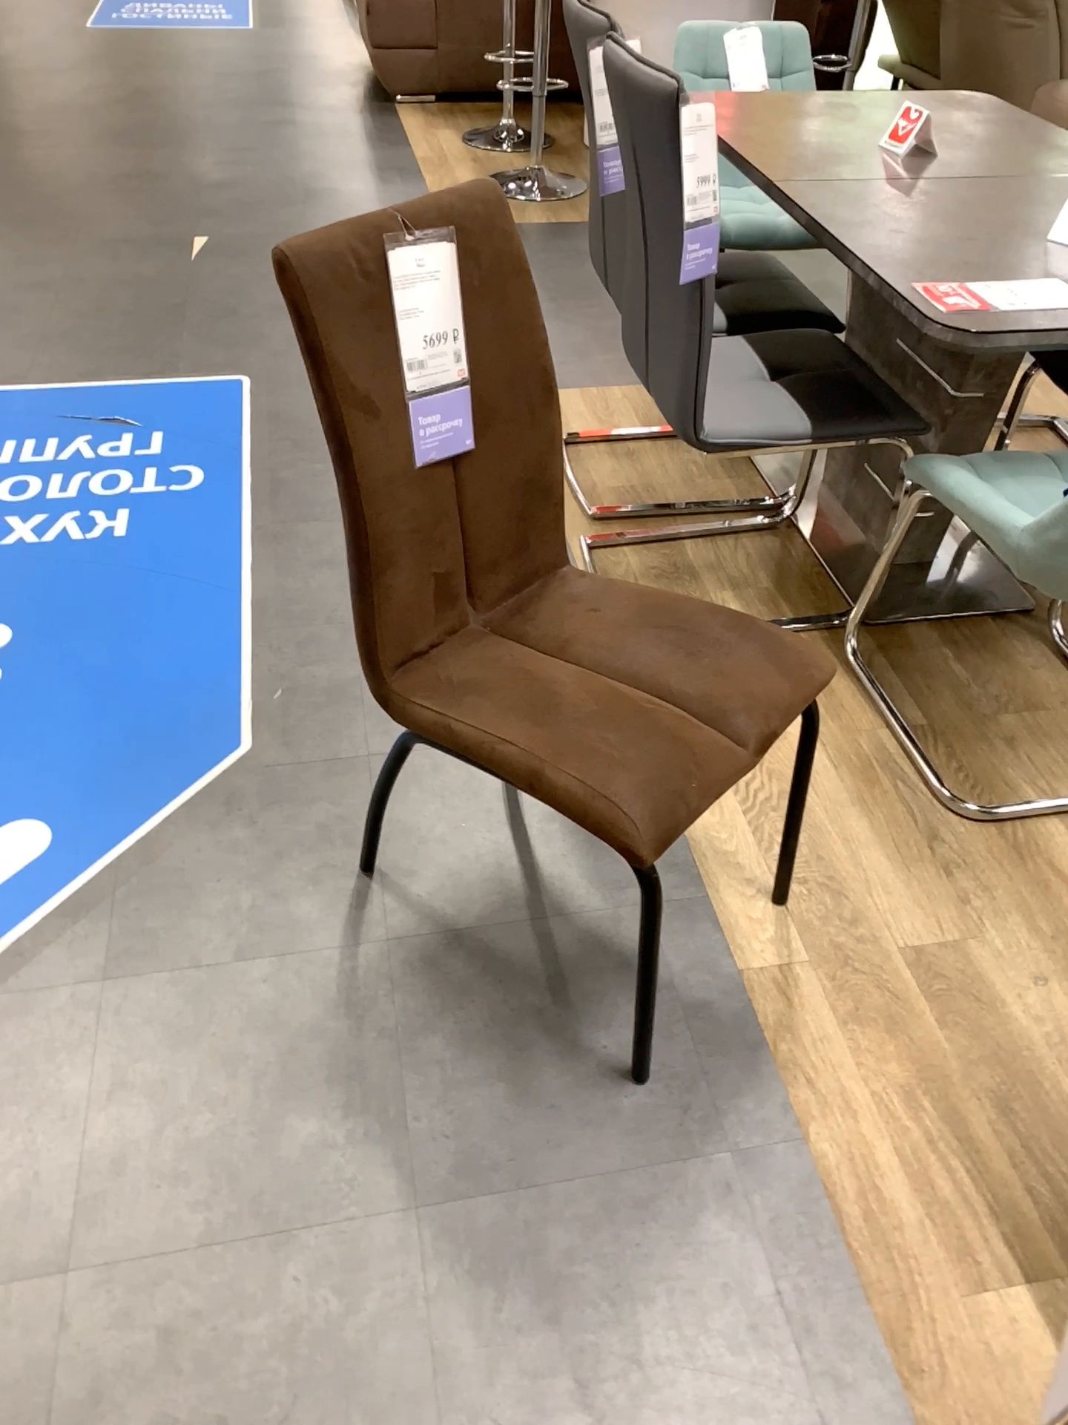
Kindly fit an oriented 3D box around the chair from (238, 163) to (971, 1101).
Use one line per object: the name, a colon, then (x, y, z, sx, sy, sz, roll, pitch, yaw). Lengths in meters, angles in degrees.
chair: (0.054, -0.085, 1.405, 0.591, 0.964, 0.442, 28, 47, 27)
